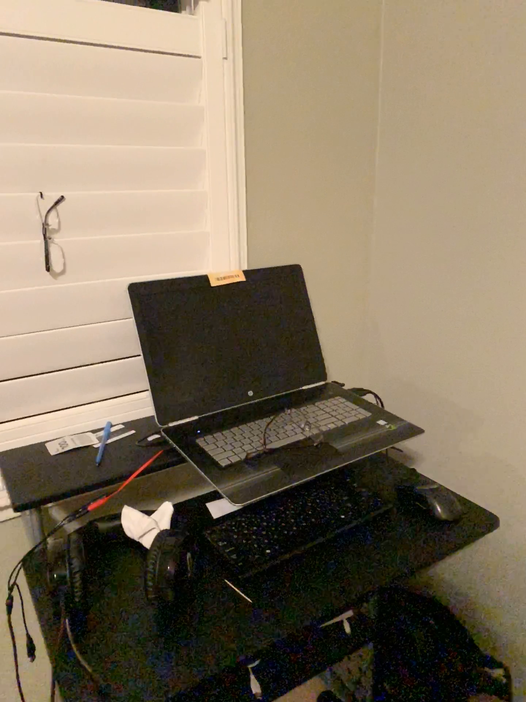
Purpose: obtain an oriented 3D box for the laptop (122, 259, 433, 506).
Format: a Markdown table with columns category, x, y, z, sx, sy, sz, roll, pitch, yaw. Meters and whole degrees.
| category | x | y | z | sx | sy | sz | roll | pitch | yaw |
| --- | --- | --- | --- | --- | --- | --- | --- | --- | --- |
| laptop | 0.017 | 0.007 | 1.064 | 0.433 | 0.263 | 0.420 | -12 | 22 | -32 |
